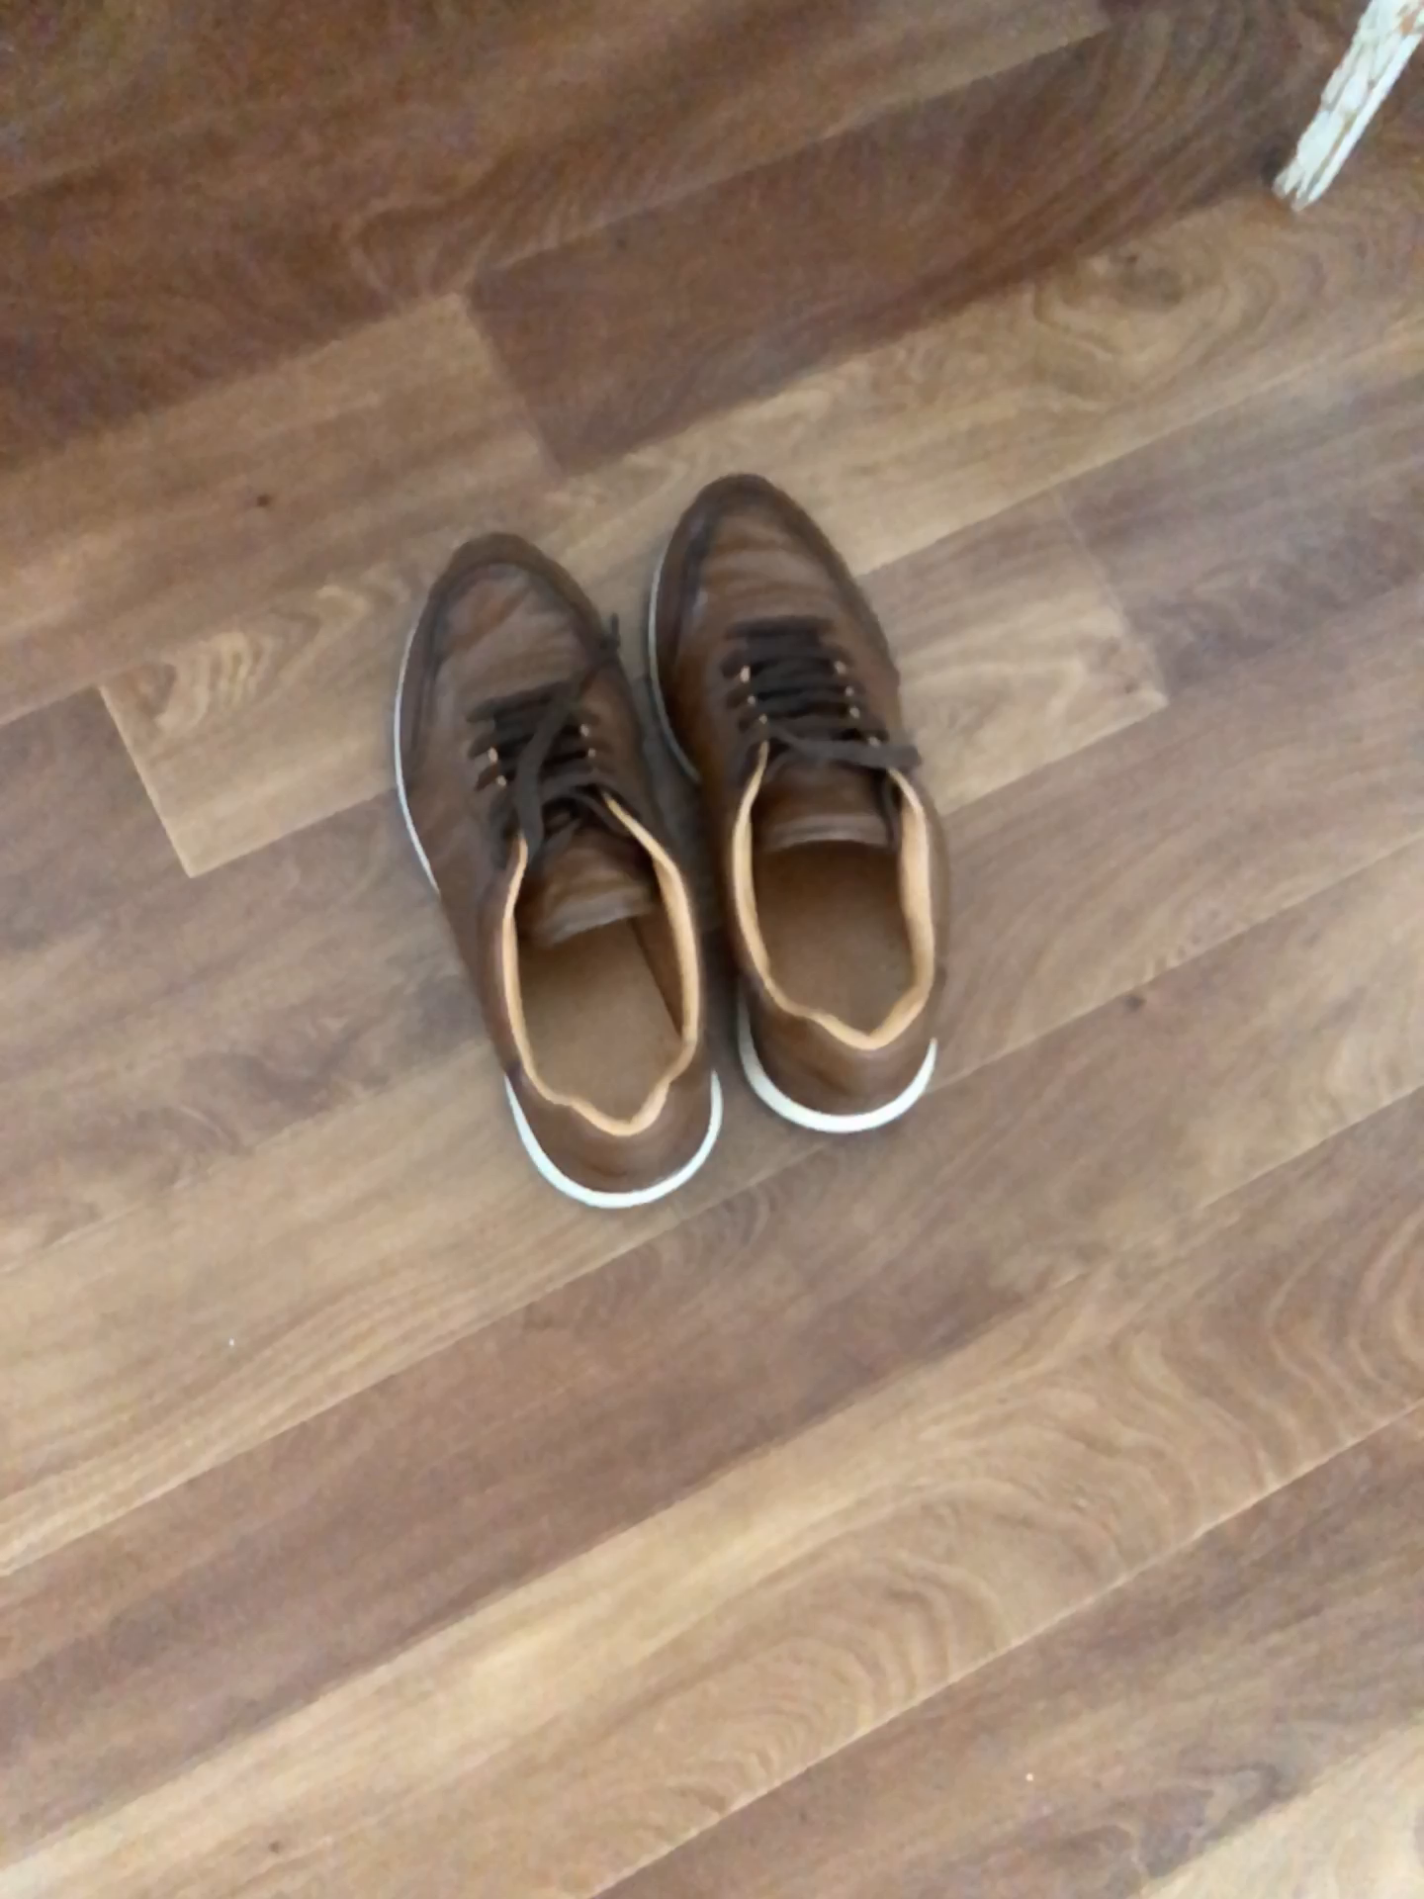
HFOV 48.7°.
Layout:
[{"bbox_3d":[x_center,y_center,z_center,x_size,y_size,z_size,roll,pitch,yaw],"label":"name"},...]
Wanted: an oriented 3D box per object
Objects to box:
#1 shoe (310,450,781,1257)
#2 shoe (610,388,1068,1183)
[{"bbox_3d":[-0.065,-0.033,0.607,0.100,0.090,0.280,-15,81,-7],"label":"shoe"},{"bbox_3d":[0.041,-0.060,0.613,0.110,0.090,0.280,-10,81,-7],"label":"shoe"}]
